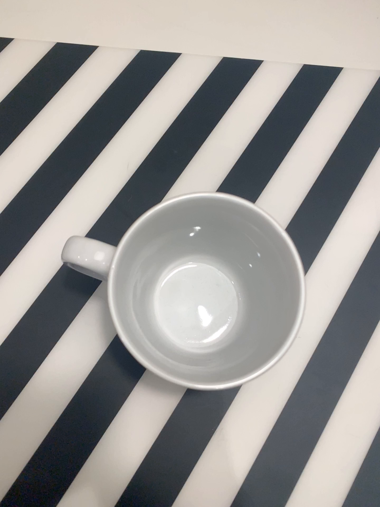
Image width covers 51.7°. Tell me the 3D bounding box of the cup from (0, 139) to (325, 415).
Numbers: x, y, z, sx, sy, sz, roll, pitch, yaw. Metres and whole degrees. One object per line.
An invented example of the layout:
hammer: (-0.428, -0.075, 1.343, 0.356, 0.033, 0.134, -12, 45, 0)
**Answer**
cup: (-0.010, 0.014, 0.187, 0.110, 0.070, 0.080, 18, 75, 1)
